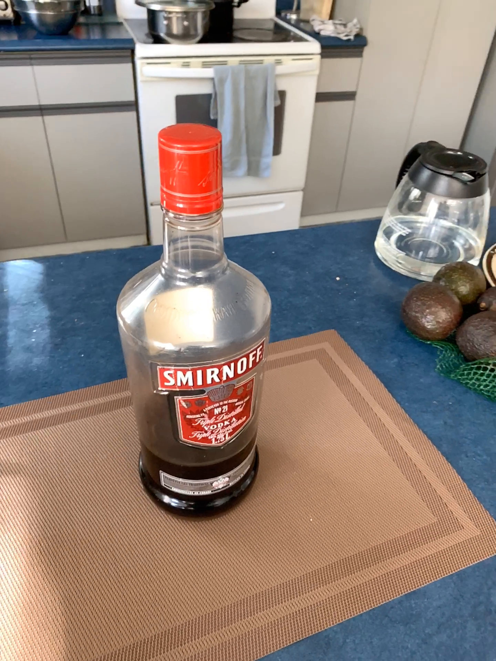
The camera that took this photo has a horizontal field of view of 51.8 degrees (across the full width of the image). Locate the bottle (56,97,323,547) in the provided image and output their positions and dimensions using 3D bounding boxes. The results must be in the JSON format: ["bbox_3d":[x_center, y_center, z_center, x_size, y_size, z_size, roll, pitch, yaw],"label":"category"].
[{"bbox_3d":[-0.045,0.011,0.385,0.120,0.317,0.111,2,39,-2],"label":"bottle"}]
